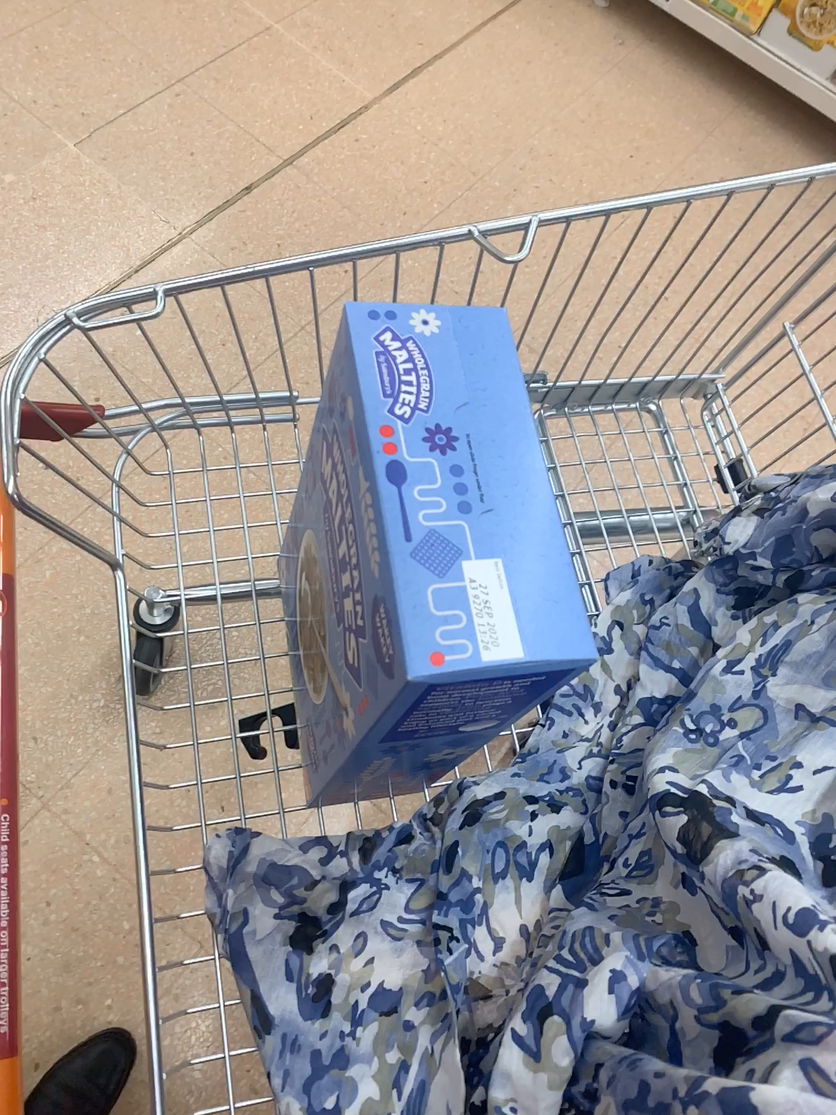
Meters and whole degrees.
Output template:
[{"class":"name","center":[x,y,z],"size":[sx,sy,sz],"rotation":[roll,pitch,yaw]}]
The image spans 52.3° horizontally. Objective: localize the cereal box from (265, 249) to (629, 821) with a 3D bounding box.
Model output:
[{"class":"cereal box","center":[-0.016,0.013,0.493],"size":[0.090,0.288,0.221],"rotation":[-4,67,-18]}]
